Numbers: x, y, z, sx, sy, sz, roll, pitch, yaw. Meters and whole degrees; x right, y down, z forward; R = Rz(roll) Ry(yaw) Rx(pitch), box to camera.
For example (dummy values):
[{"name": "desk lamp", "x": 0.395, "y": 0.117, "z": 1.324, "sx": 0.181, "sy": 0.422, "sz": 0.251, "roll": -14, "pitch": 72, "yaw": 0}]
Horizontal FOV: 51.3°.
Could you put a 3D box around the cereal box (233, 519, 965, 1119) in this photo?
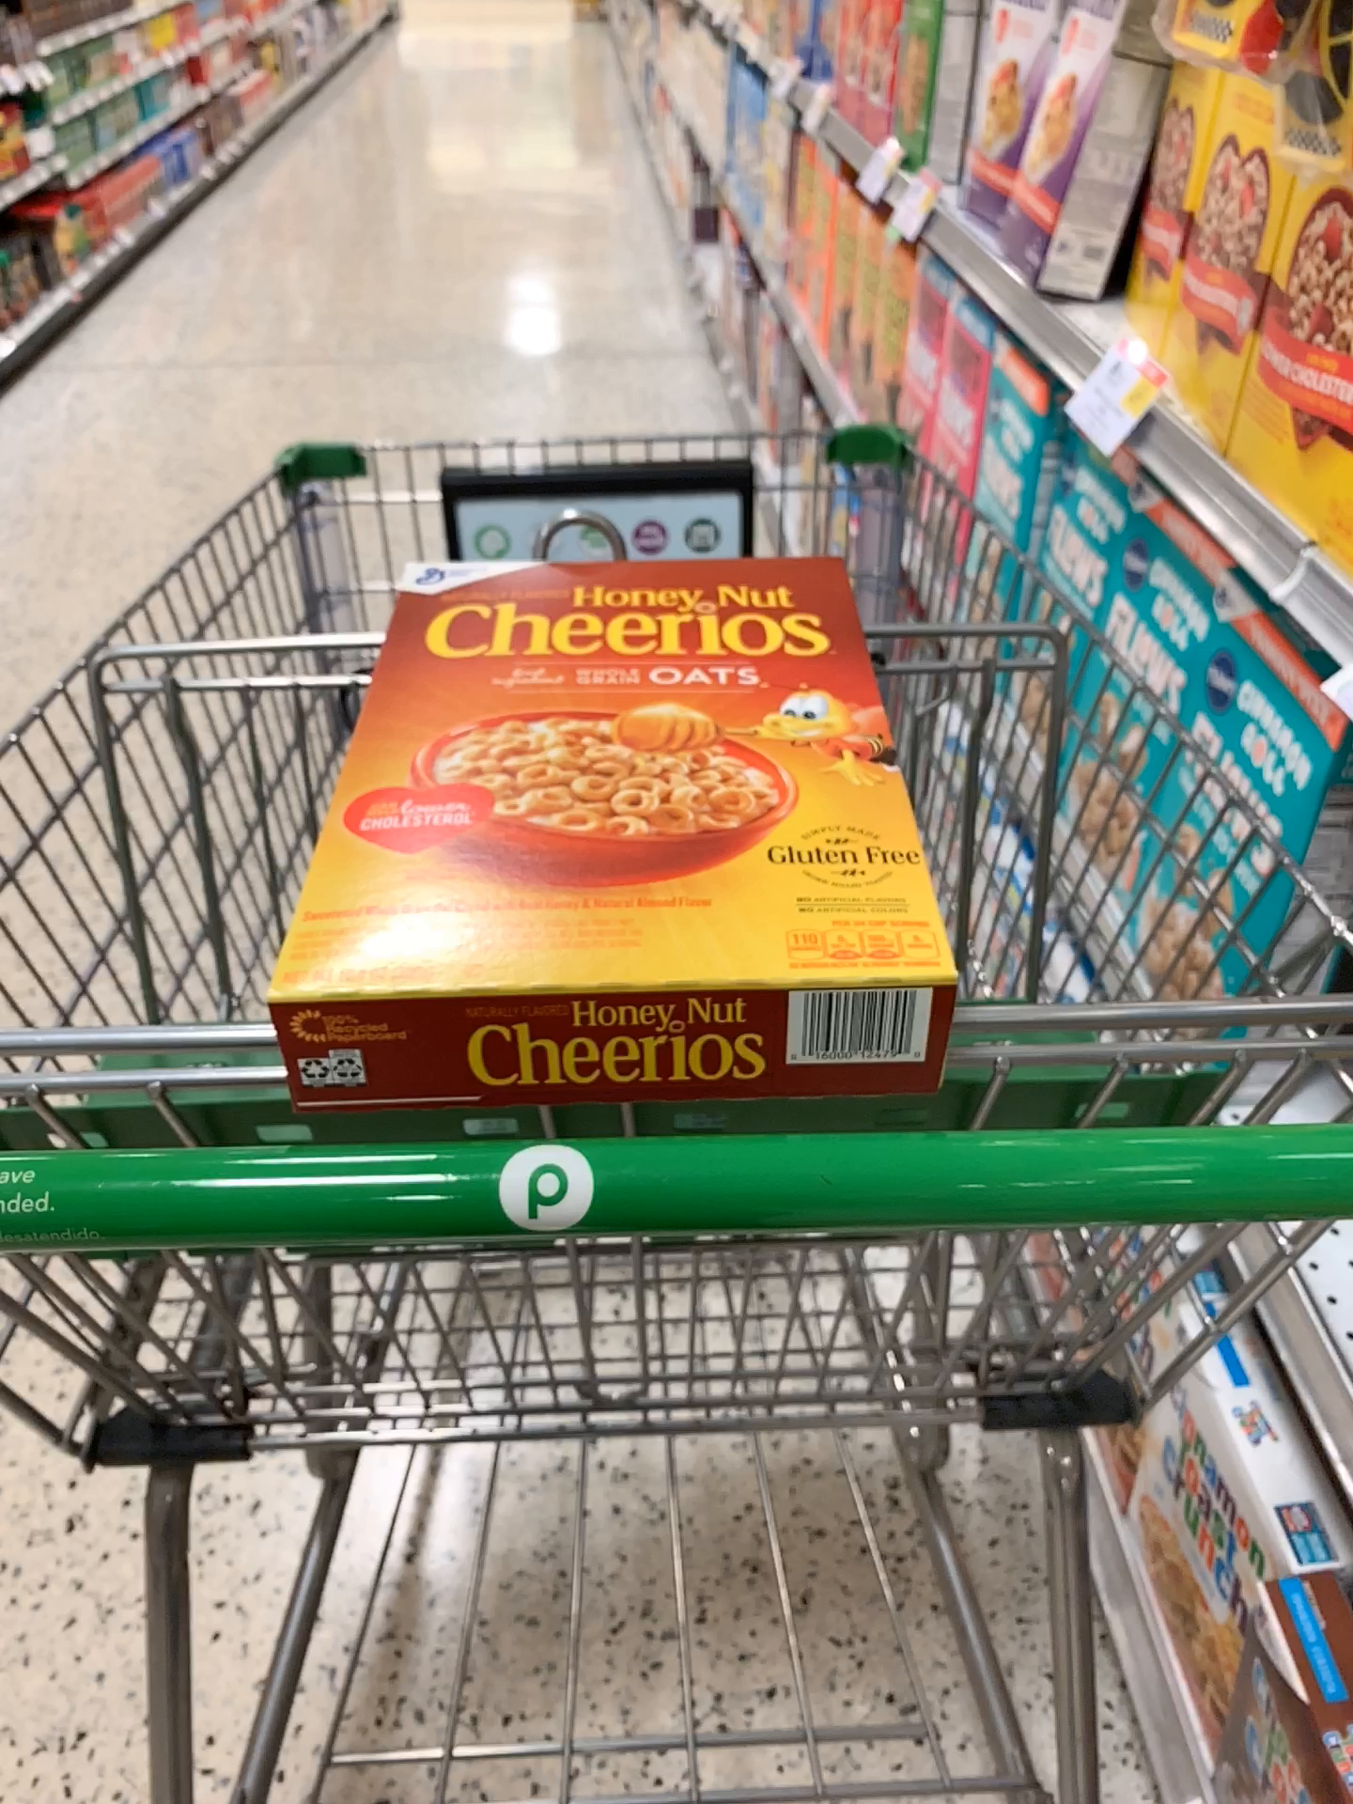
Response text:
[{"name": "cereal box", "x": -0.024, "y": -0.052, "z": 0.518, "sx": 0.200, "sy": 0.059, "sz": 0.293, "roll": -1, "pitch": 38, "yaw": -1}]
